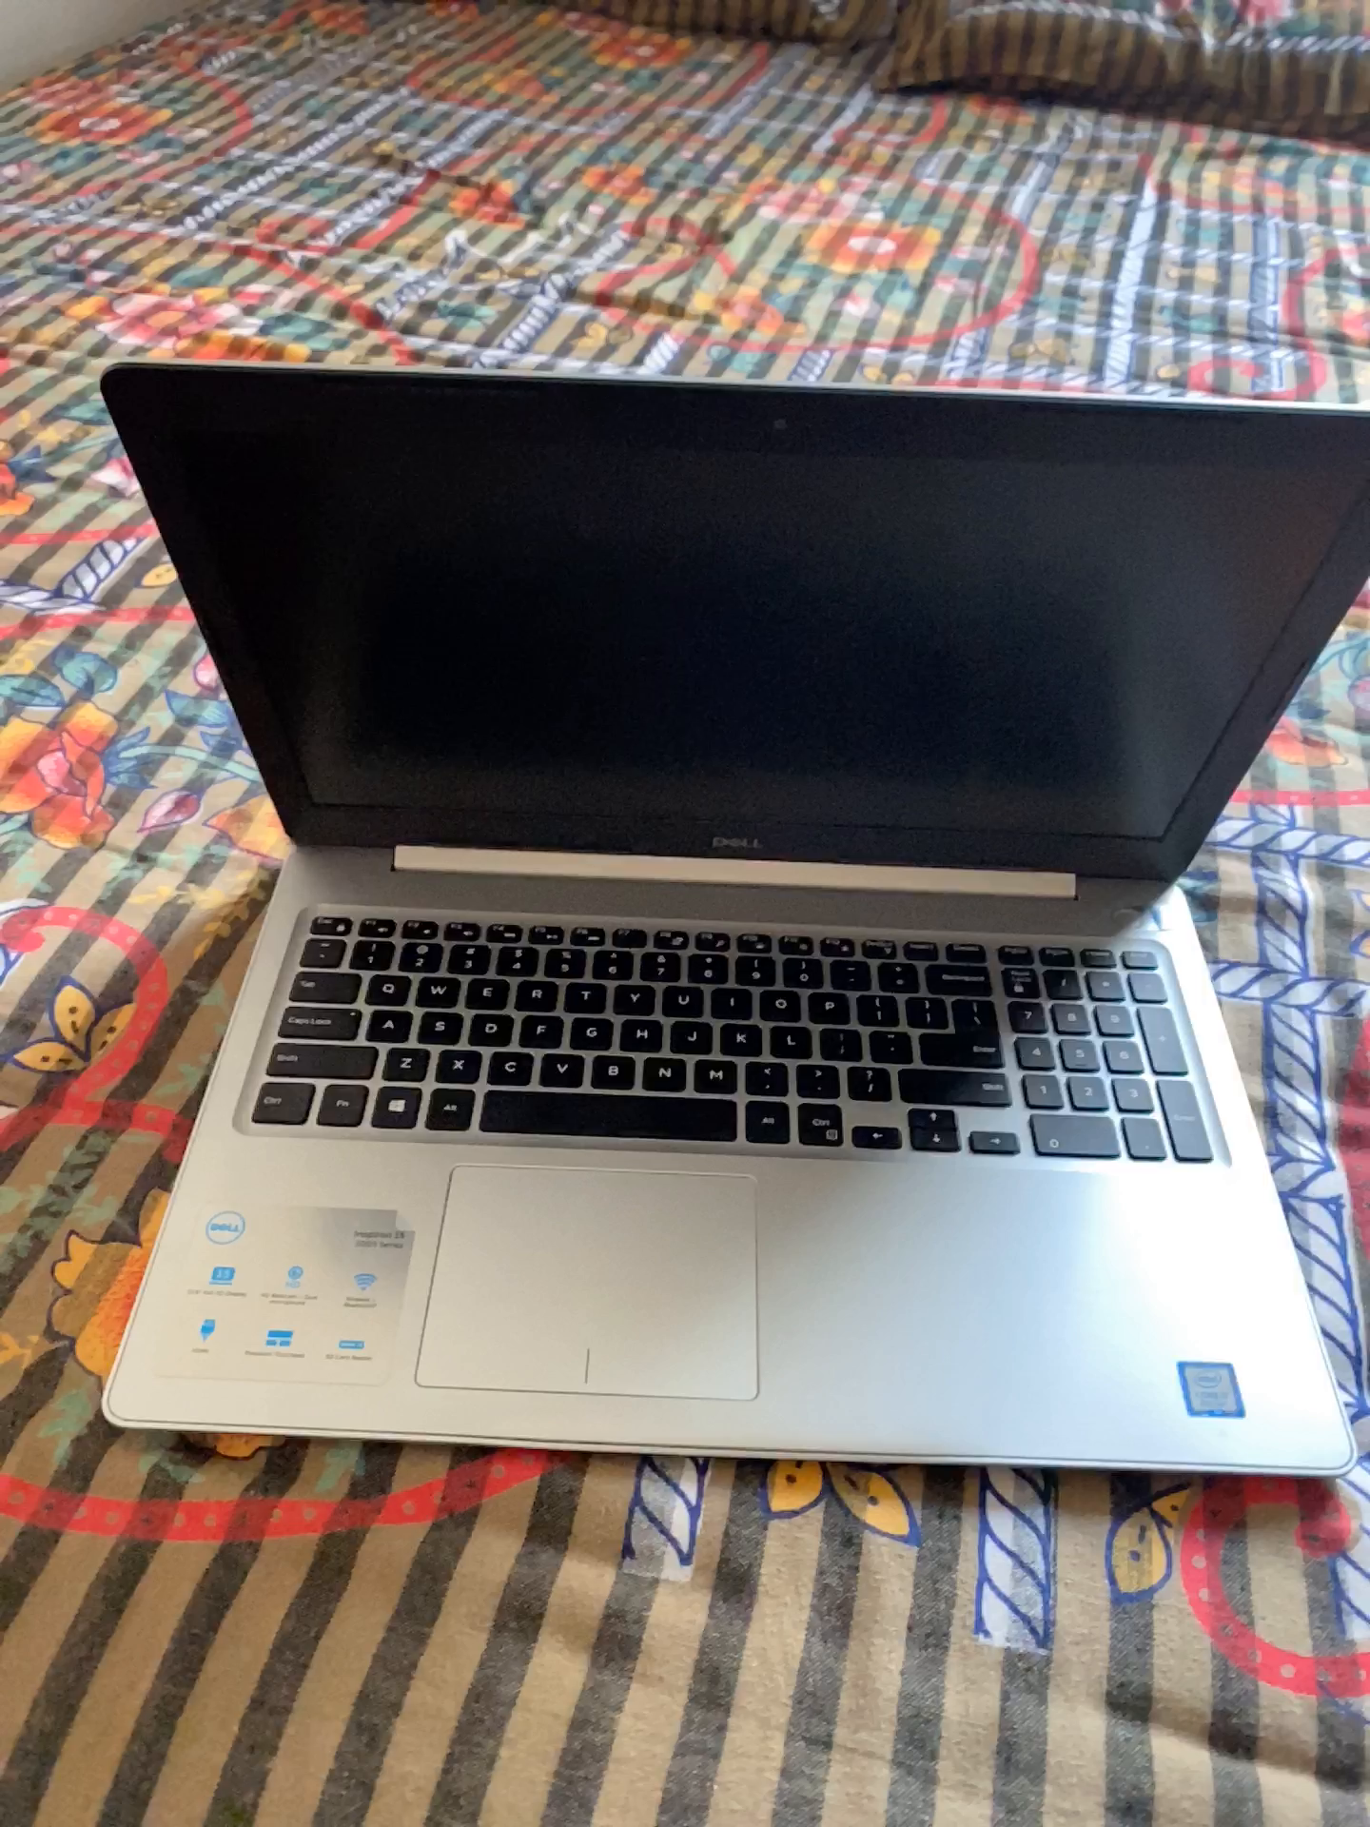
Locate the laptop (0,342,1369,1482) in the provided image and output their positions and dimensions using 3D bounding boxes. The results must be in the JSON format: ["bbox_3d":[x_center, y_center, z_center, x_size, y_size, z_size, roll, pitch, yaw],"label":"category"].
[{"bbox_3d":[0.018,0.002,0.414,0.373,0.231,0.210,3,46,1],"label":"laptop"}]
